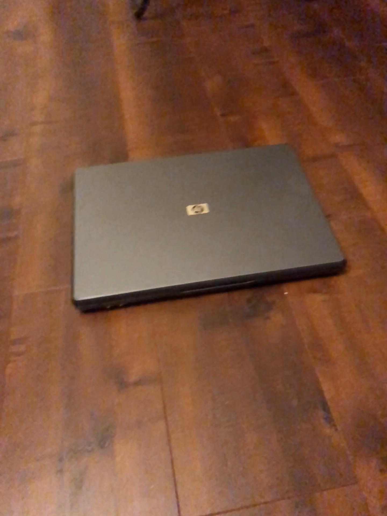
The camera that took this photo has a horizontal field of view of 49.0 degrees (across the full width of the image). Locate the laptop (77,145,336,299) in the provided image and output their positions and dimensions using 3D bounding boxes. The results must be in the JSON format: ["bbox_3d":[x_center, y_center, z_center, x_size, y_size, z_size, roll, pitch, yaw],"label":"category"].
[{"bbox_3d":[0.003,-0.062,0.564,0.309,0.005,0.217,-8,53,-6],"label":"laptop"}]
